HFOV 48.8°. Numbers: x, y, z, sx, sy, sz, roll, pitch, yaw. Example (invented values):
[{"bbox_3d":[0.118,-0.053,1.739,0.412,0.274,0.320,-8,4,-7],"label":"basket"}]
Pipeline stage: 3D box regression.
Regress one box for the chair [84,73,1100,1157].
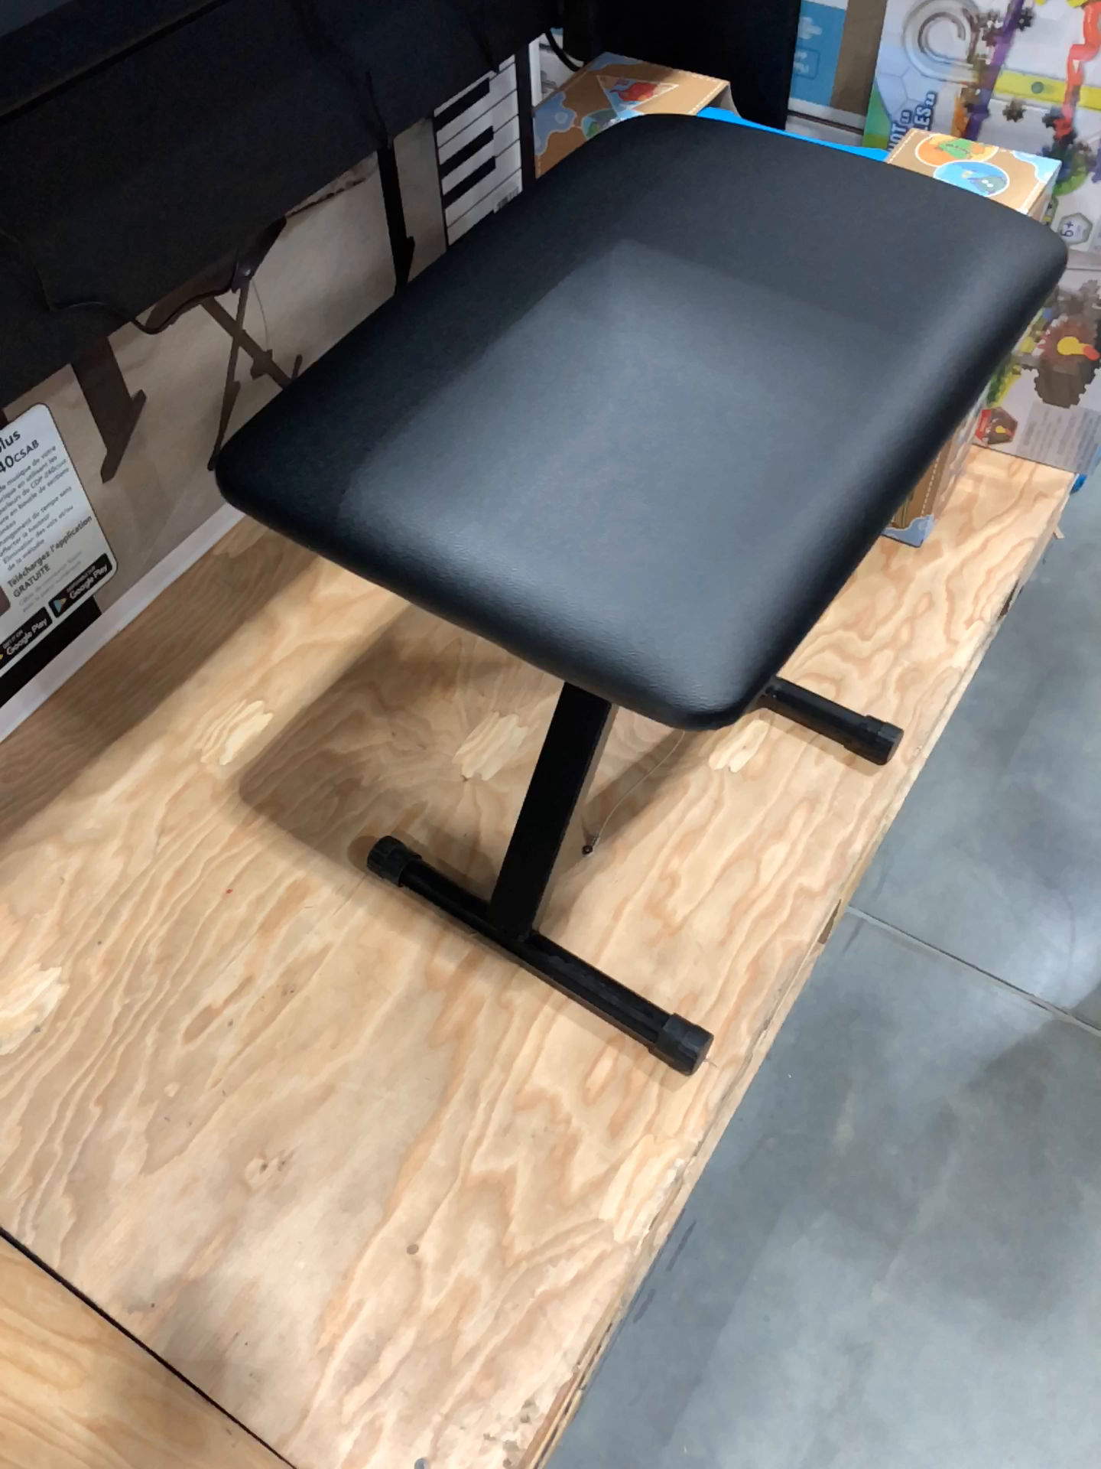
[{"bbox_3d":[0.084,-0.110,0.730,0.370,0.279,0.511,27,58,21],"label":"chair"}]
